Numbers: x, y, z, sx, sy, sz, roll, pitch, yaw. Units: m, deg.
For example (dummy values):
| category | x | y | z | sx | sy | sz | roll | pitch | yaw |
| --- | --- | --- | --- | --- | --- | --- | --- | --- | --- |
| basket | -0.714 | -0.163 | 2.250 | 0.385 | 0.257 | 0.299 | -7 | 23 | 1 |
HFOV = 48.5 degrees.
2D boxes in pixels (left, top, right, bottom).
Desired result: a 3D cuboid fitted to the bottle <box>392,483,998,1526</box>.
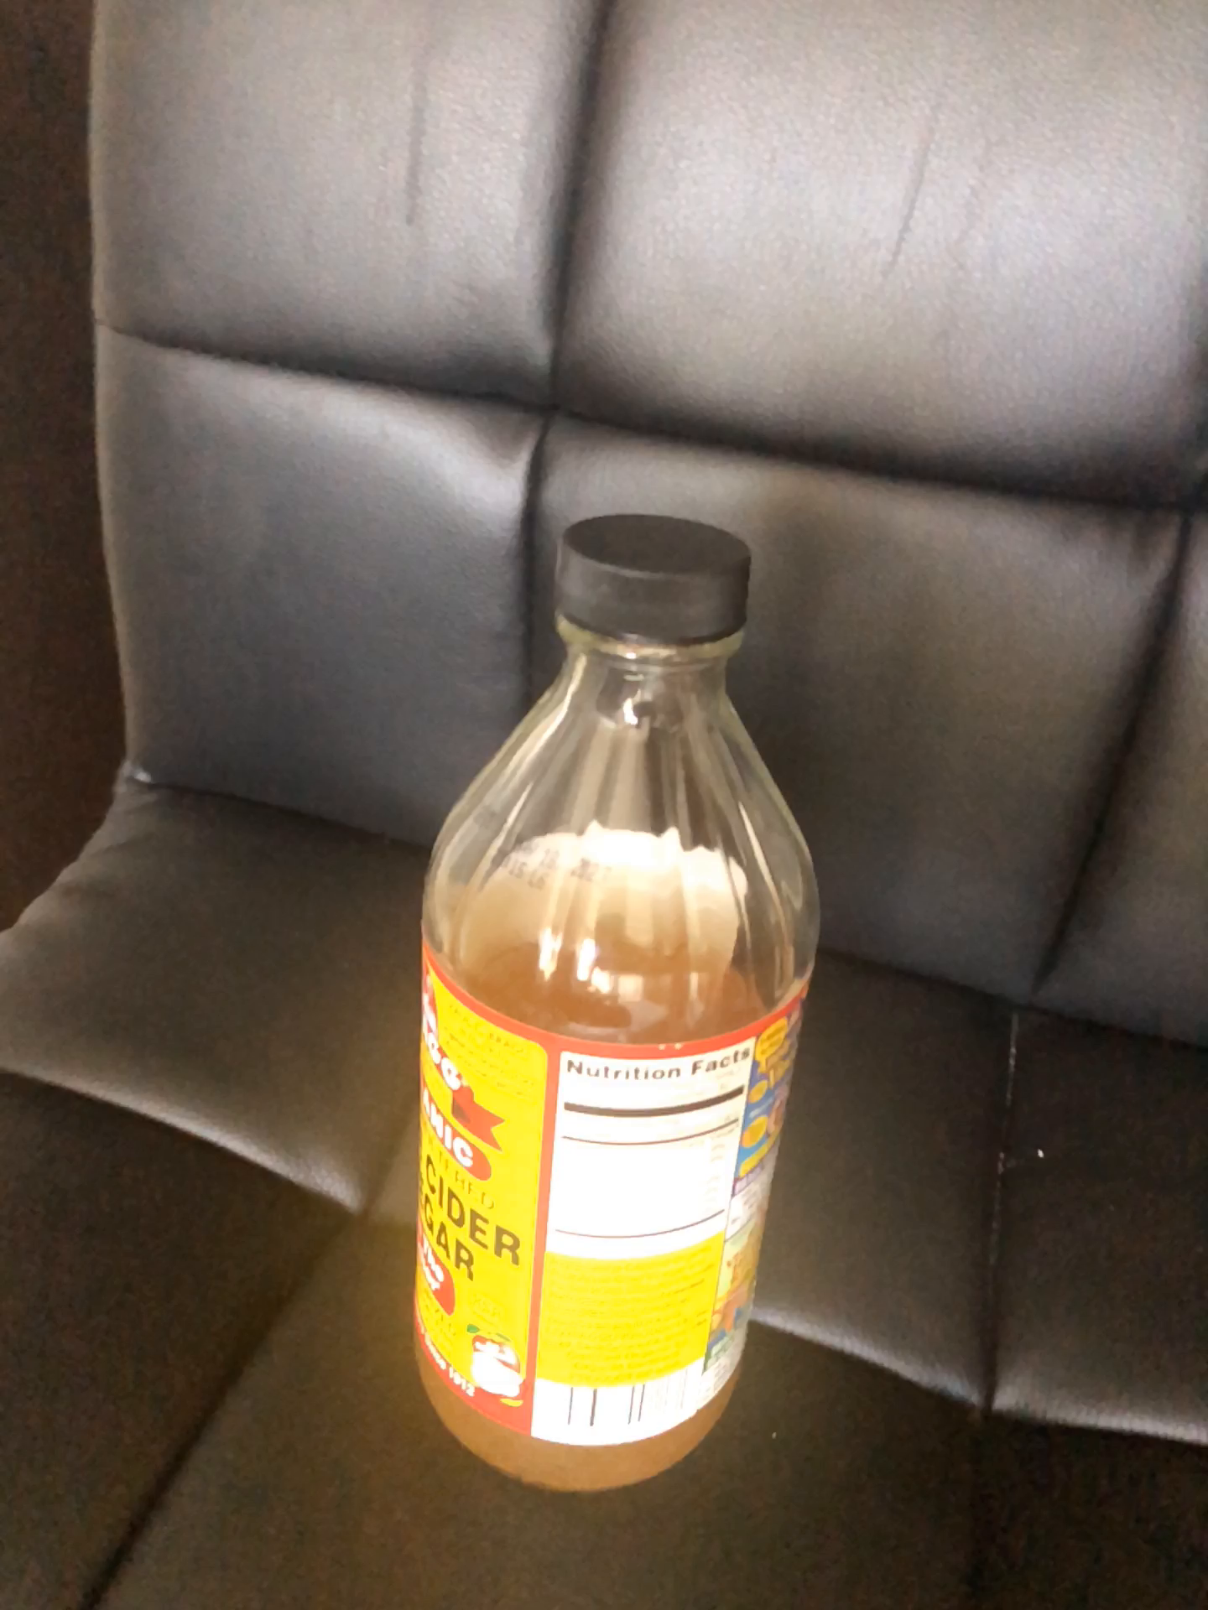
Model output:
| category | x | y | z | sx | sy | sz | roll | pitch | yaw |
| --- | --- | --- | --- | --- | --- | --- | --- | --- | --- |
| bottle | 0.003 | 0.040 | 0.251 | 0.070 | 0.179 | 0.070 | 6 | 27 | -3 |

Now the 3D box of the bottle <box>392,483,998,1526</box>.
| category | x | y | z | sx | sy | sz | roll | pitch | yaw |
| --- | --- | --- | --- | --- | --- | --- | --- | --- | --- |
| bottle | 0.003 | 0.040 | 0.251 | 0.070 | 0.179 | 0.070 | 6 | 27 | -3 |
